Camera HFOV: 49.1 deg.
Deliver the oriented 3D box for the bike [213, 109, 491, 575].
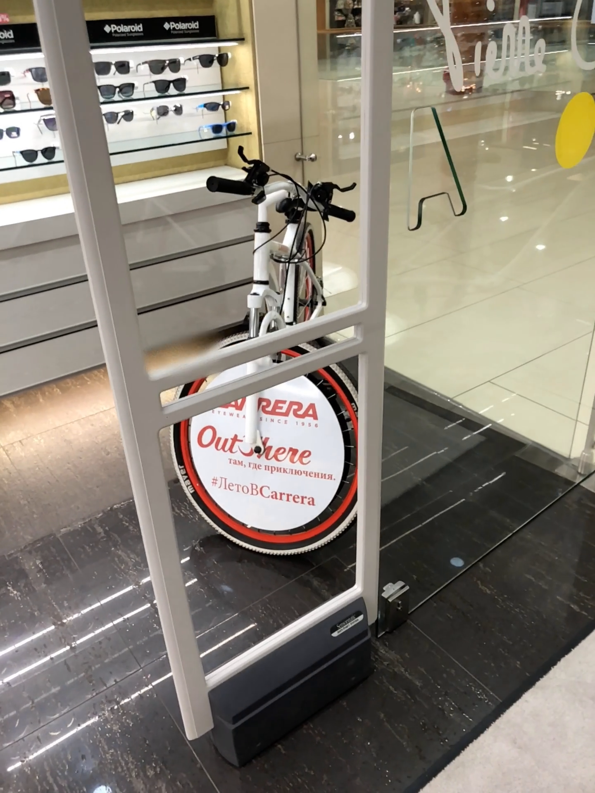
[{"bbox_3d":[0.069,-0.312,2.201,0.592,0.947,1.389,-5,32,-3],"label":"bike"}]
